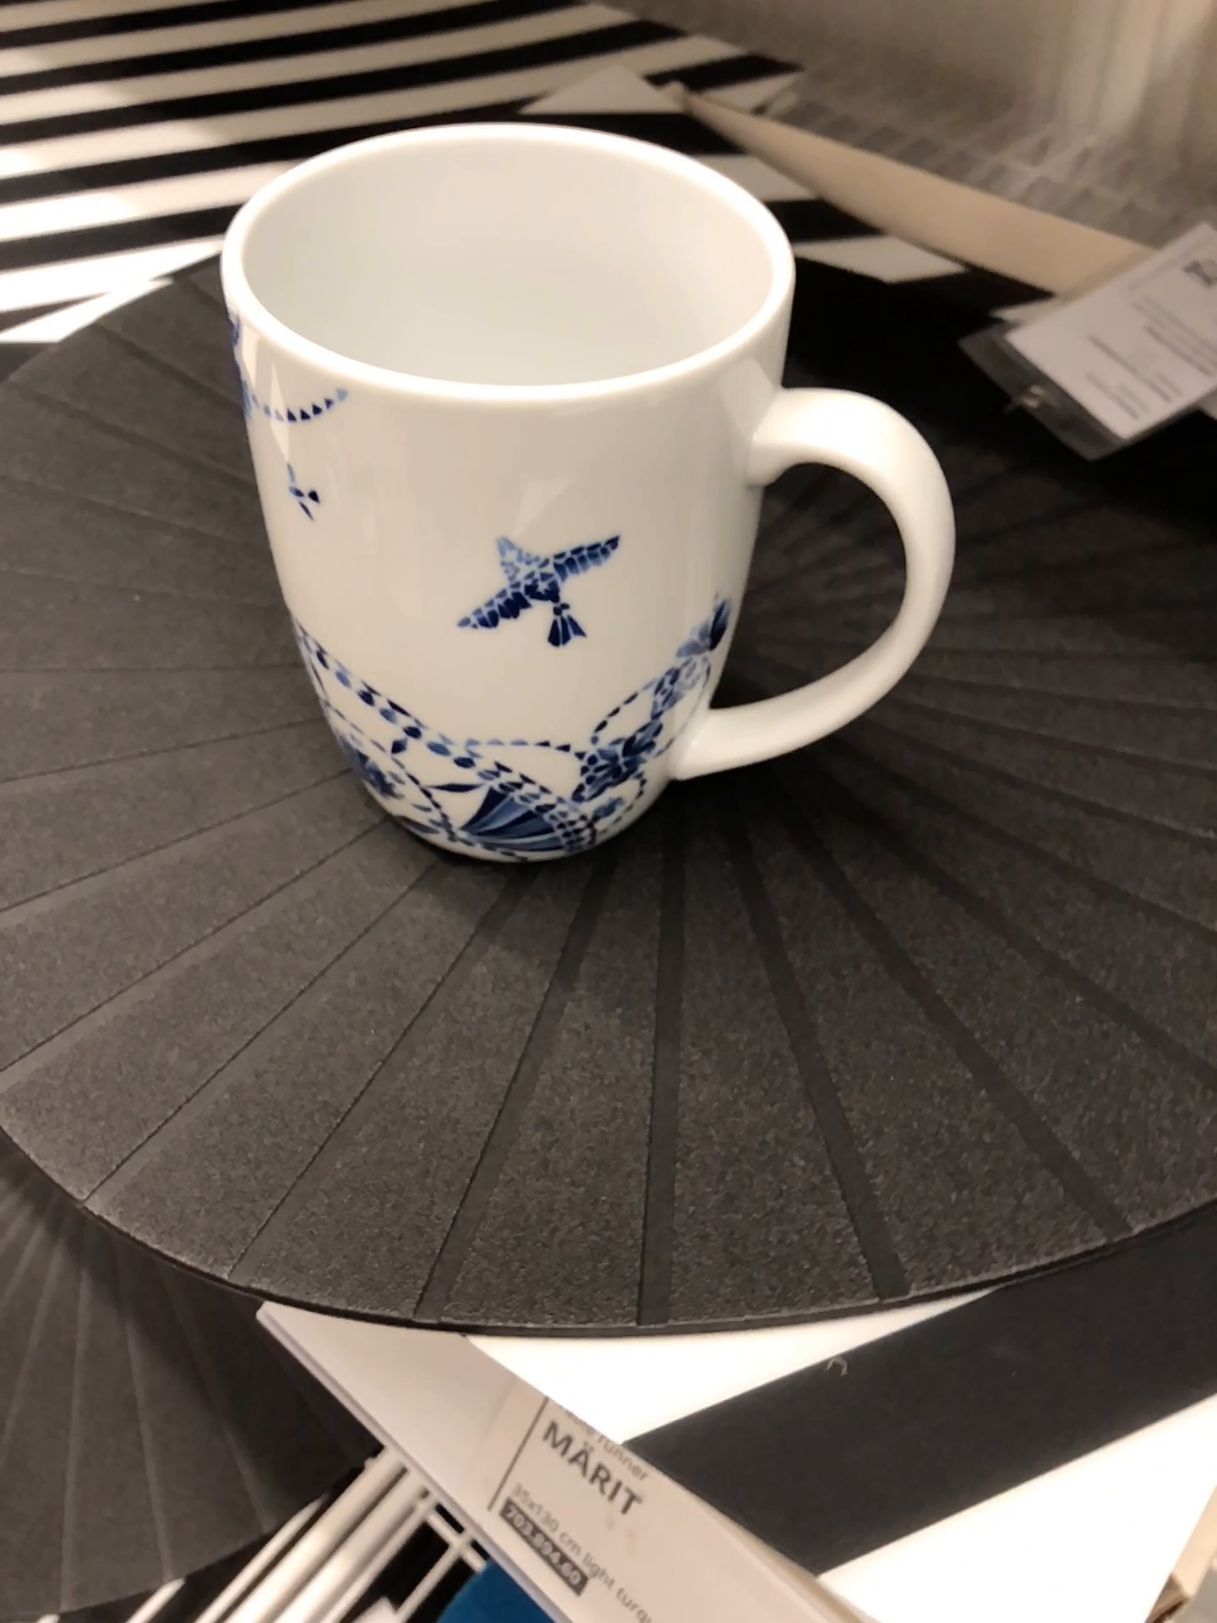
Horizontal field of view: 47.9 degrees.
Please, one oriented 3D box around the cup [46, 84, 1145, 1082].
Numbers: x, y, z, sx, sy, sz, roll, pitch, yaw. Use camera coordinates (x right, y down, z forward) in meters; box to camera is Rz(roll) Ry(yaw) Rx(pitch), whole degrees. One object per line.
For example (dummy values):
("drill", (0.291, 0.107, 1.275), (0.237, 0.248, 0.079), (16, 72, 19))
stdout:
("cup", (0.001, -0.045, 0.238), (0.130, 0.100, 0.100), (22, 50, 18))
